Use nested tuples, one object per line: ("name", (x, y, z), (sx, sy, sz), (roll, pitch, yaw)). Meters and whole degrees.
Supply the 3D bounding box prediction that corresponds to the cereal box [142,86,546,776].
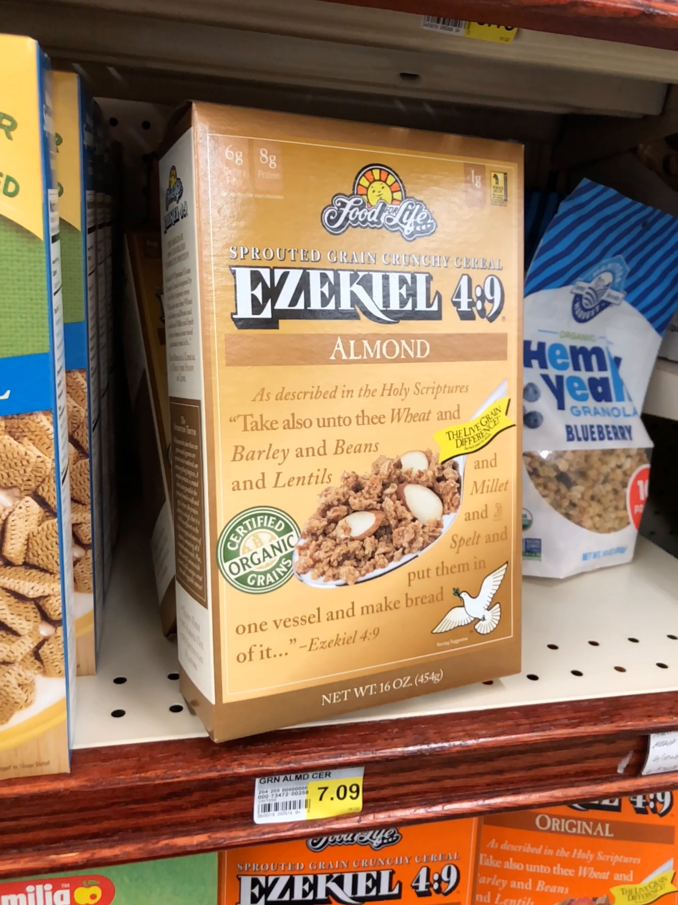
("cereal box", (0.004, -0.009, 0.296), (0.140, 0.220, 0.060), (-4, 7, -24))
